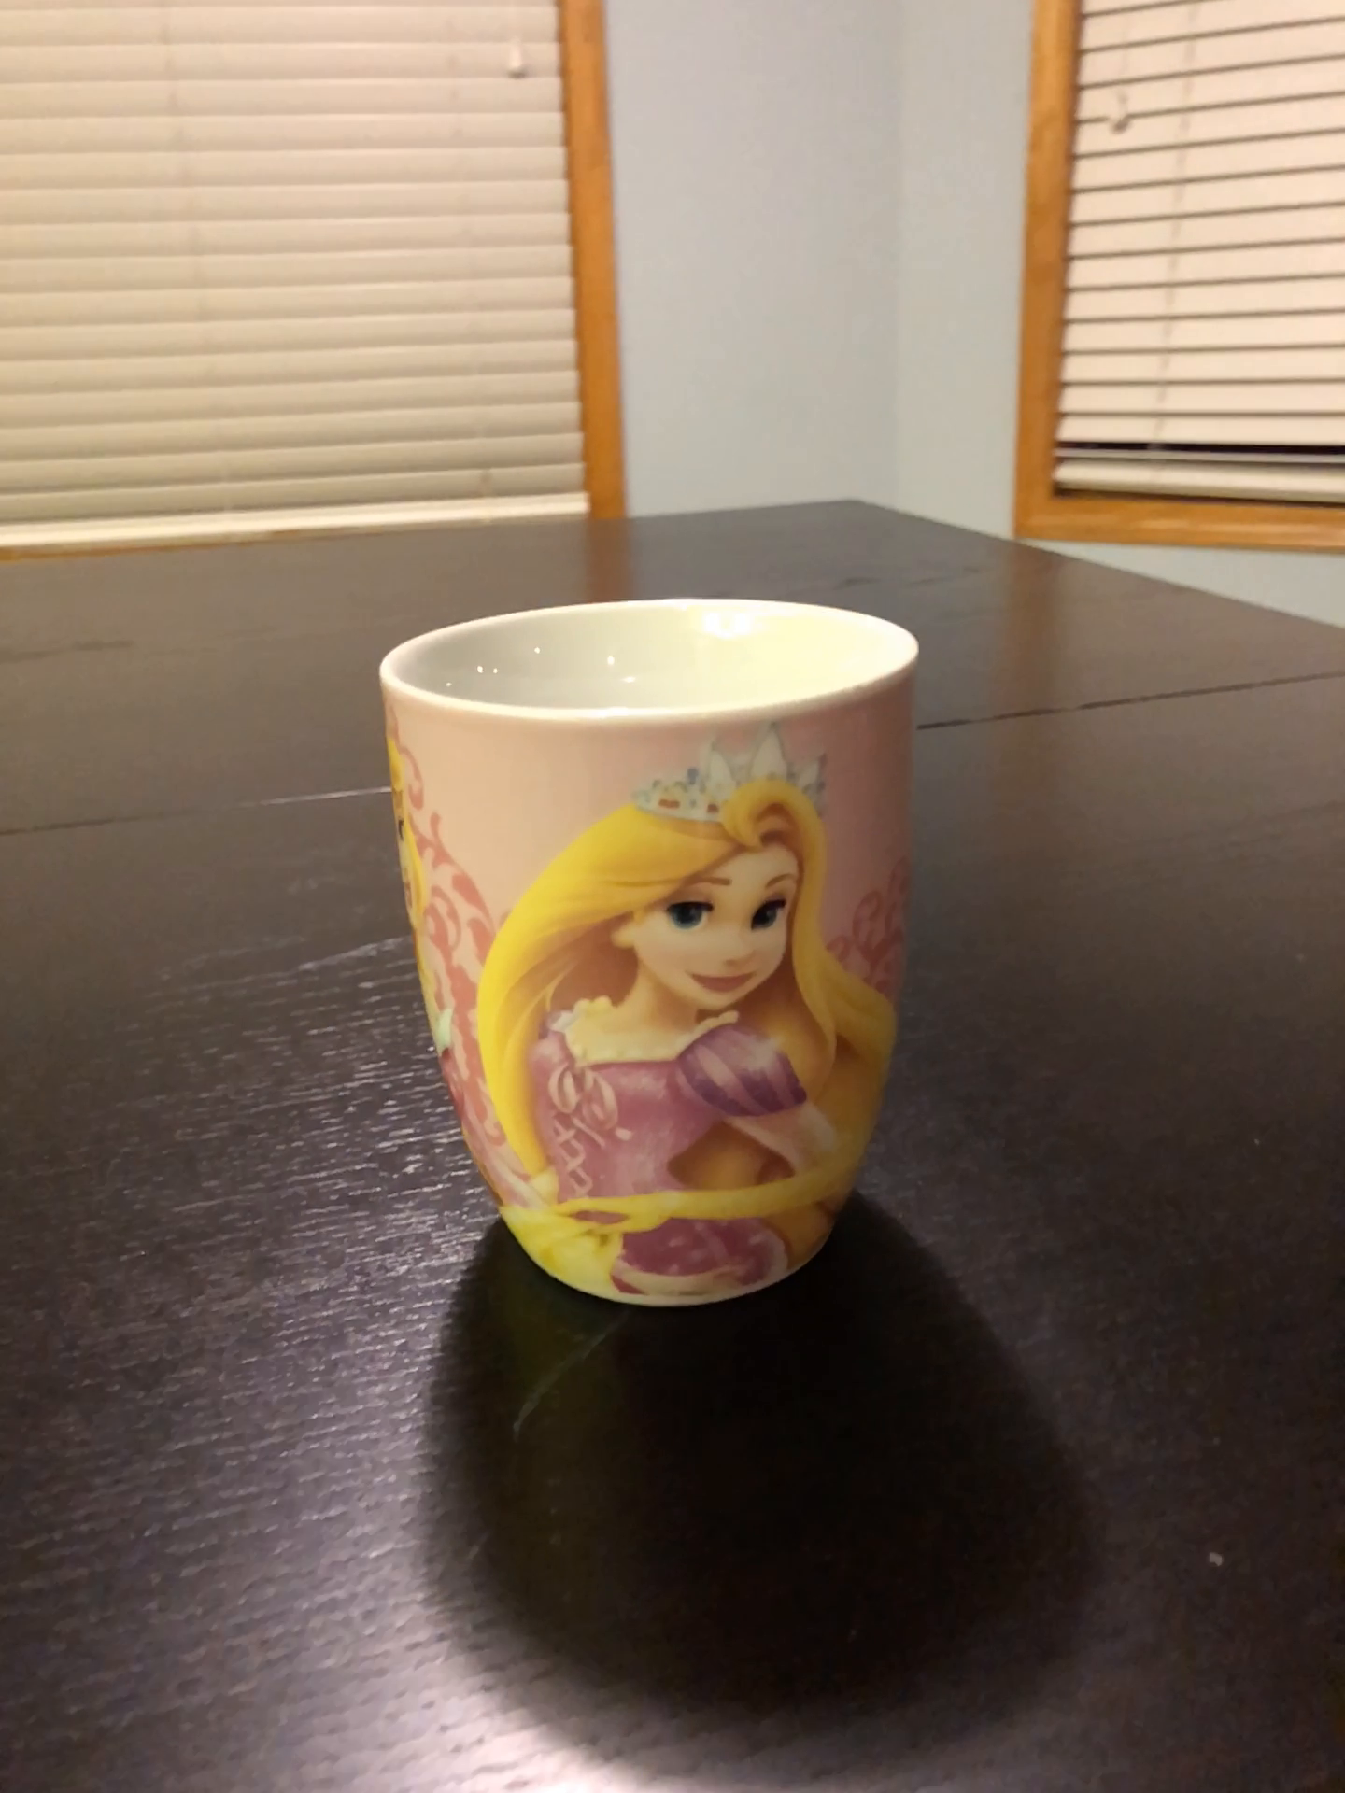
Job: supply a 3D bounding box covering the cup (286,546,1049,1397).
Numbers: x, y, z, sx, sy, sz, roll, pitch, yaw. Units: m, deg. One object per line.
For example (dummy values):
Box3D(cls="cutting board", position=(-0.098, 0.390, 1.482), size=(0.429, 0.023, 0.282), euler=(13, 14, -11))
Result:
Box3D(cls="cup", position=(-0.009, -0.001, 0.265), size=(0.090, 0.100, 0.120), euler=(-9, 21, -19))
